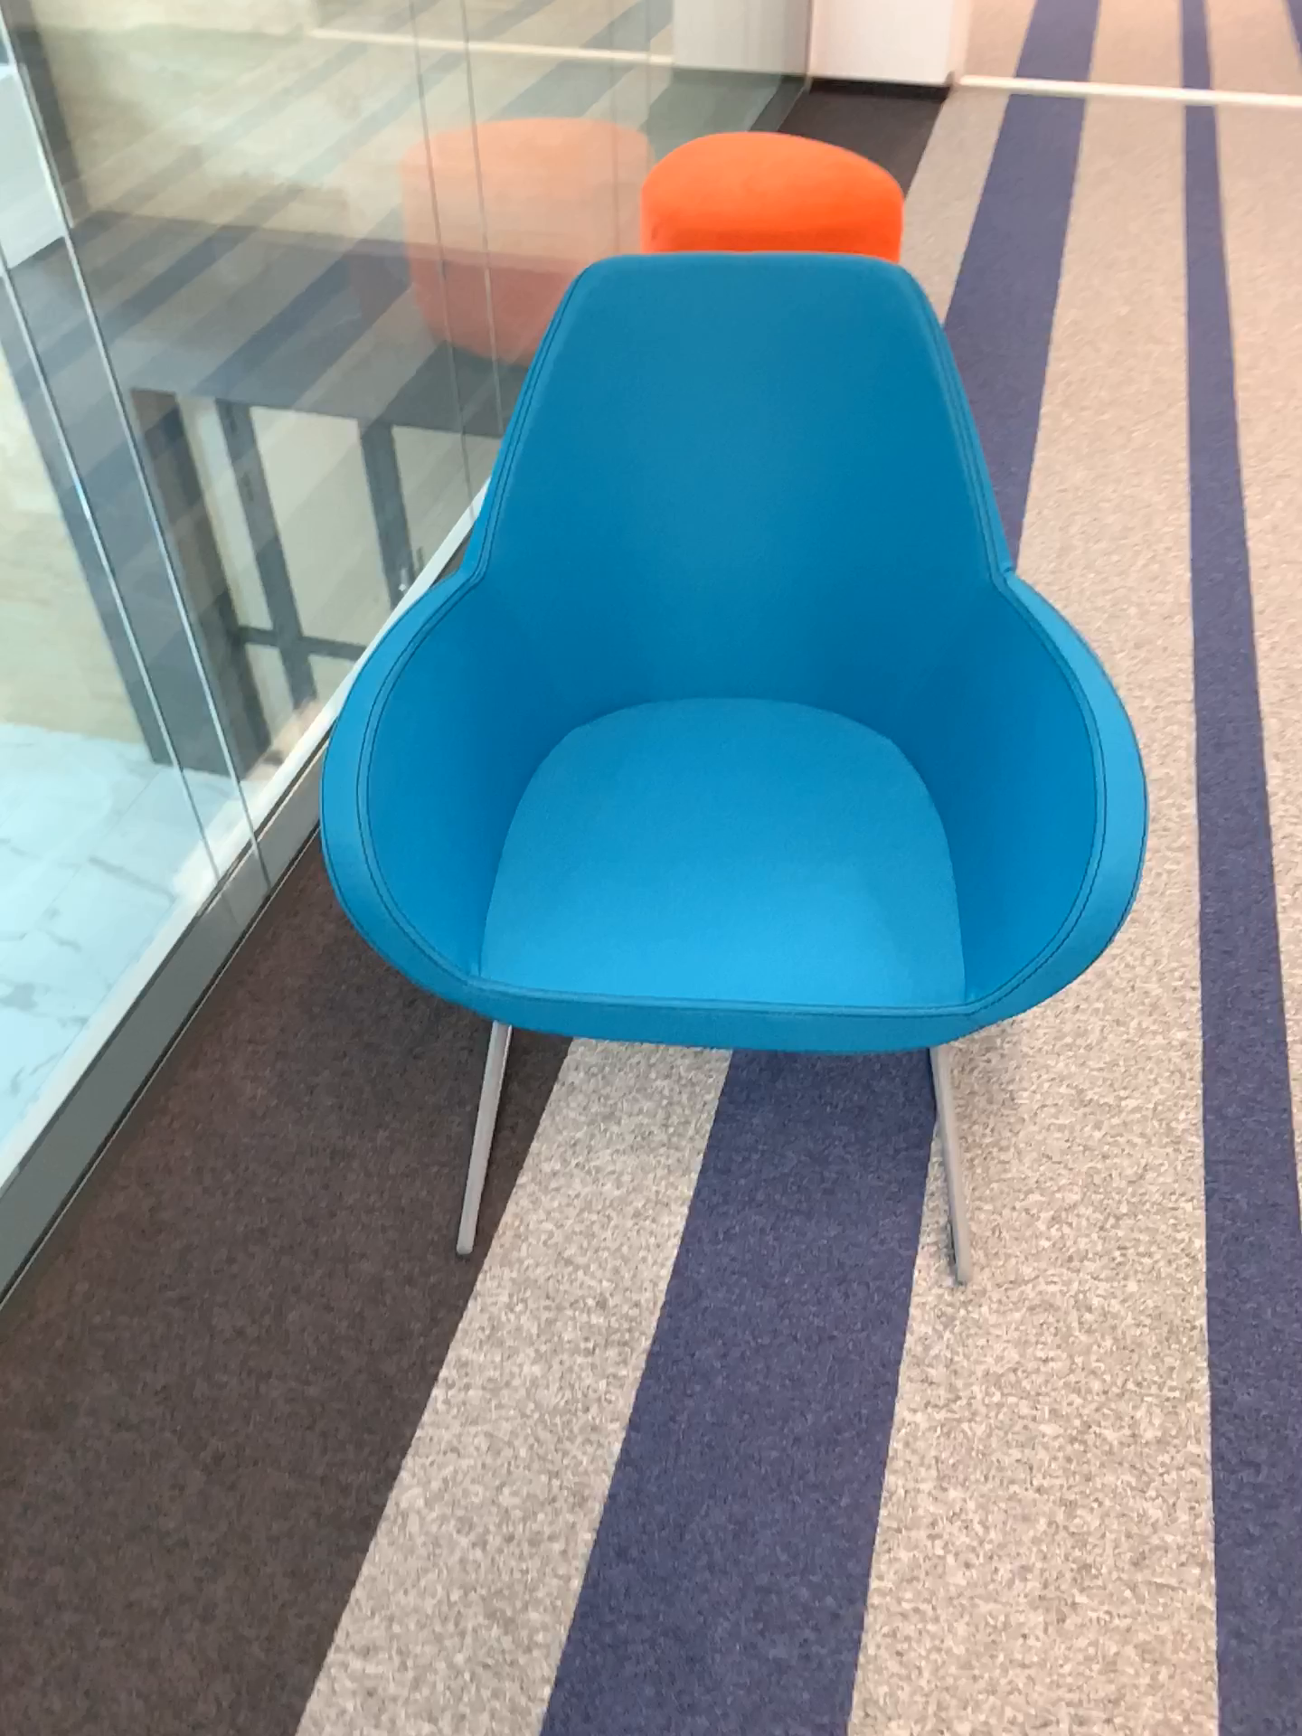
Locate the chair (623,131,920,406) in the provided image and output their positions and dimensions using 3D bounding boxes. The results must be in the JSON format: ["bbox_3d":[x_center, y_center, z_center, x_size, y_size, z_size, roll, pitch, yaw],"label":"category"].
[{"bbox_3d":[0.289,-1.473,3.228,0.639,0.396,0.653,3,45,4],"label":"chair"}]

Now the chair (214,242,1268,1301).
[{"bbox_3d":[0.081,-0.084,1.368,0.671,0.836,0.653,3,45,4],"label":"chair"}]
